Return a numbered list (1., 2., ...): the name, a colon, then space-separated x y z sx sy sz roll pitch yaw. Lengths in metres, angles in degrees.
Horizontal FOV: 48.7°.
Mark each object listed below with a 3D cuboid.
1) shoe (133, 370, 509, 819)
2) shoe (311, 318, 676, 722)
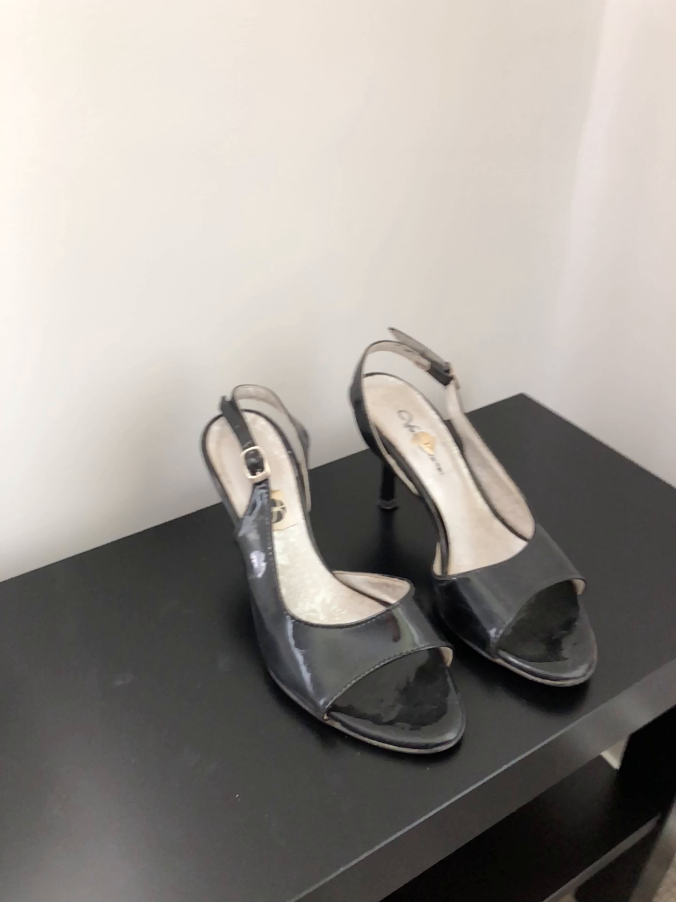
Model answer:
1. shoe: -0.021 0.058 0.397 0.083 0.110 0.211 -21 39 -27
2. shoe: 0.070 0.022 0.424 0.083 0.110 0.211 -17 38 -22
